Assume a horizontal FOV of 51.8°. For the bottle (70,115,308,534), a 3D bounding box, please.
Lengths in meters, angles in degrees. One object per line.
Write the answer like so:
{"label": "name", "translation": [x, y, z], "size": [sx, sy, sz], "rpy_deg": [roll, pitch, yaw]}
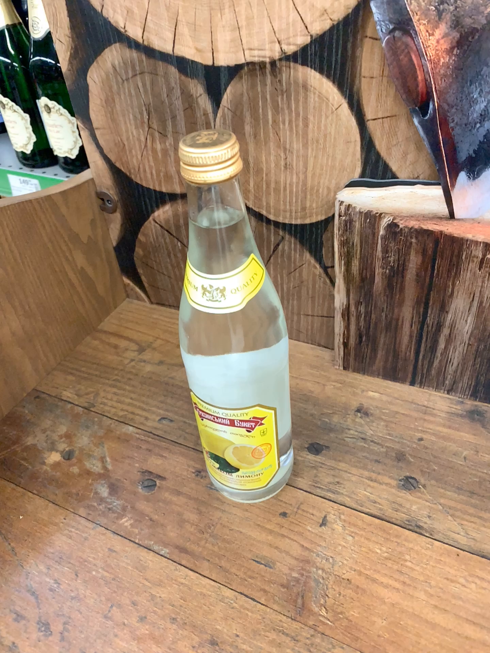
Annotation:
{"label": "bottle", "translation": [-0.012, 0.012, 0.273], "size": [0.070, 0.219, 0.070], "rpy_deg": [-3, 40, 3]}

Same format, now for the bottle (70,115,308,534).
{"label": "bottle", "translation": [-0.012, 0.012, 0.273], "size": [0.070, 0.219, 0.070], "rpy_deg": [-3, 40, 3]}
